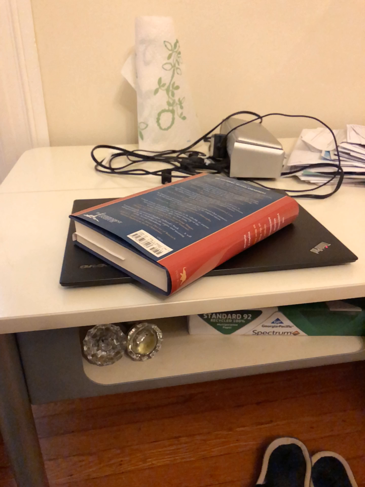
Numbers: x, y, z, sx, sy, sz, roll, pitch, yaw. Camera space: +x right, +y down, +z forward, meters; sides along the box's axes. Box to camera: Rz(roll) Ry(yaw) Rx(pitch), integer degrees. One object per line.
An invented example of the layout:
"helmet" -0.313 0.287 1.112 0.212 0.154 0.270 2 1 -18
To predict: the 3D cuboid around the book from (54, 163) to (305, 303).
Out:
"book" 0.005 -0.033 0.473 0.170 0.040 0.241 22 35 38
